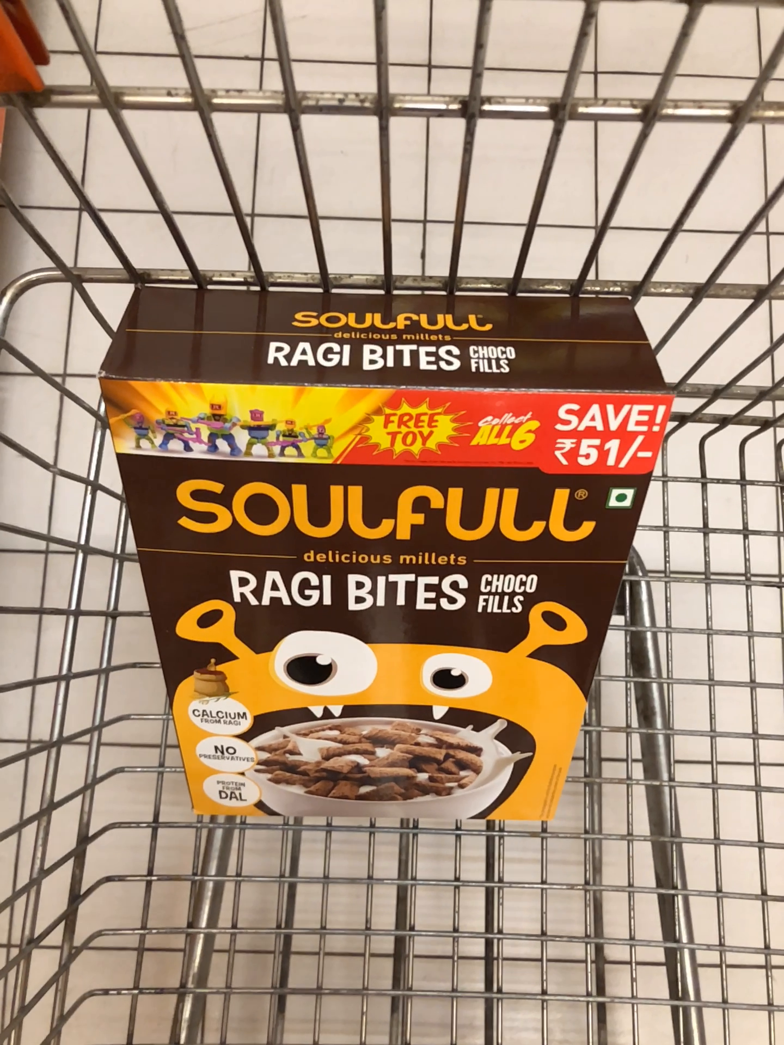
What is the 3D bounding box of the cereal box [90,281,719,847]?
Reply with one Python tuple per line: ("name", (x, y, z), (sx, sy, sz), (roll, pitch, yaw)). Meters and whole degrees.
("cereal box", (0.001, 0.037, 0.374), (0.190, 0.259, 0.070), (2, 41, 0))
